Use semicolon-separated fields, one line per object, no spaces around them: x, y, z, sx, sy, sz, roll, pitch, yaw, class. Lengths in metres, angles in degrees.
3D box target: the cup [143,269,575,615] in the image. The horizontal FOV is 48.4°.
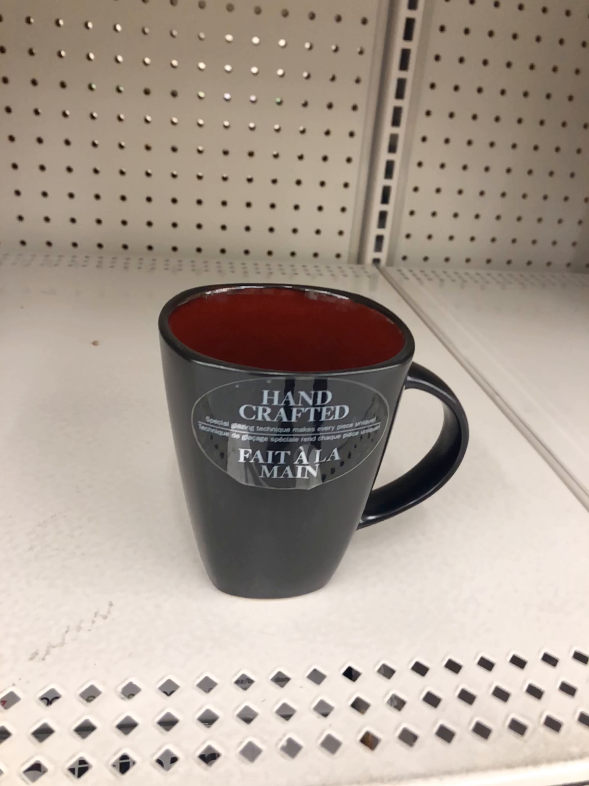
0.013;0.013;0.274;0.143;0.099;0.100;-1;27;-11;cup
